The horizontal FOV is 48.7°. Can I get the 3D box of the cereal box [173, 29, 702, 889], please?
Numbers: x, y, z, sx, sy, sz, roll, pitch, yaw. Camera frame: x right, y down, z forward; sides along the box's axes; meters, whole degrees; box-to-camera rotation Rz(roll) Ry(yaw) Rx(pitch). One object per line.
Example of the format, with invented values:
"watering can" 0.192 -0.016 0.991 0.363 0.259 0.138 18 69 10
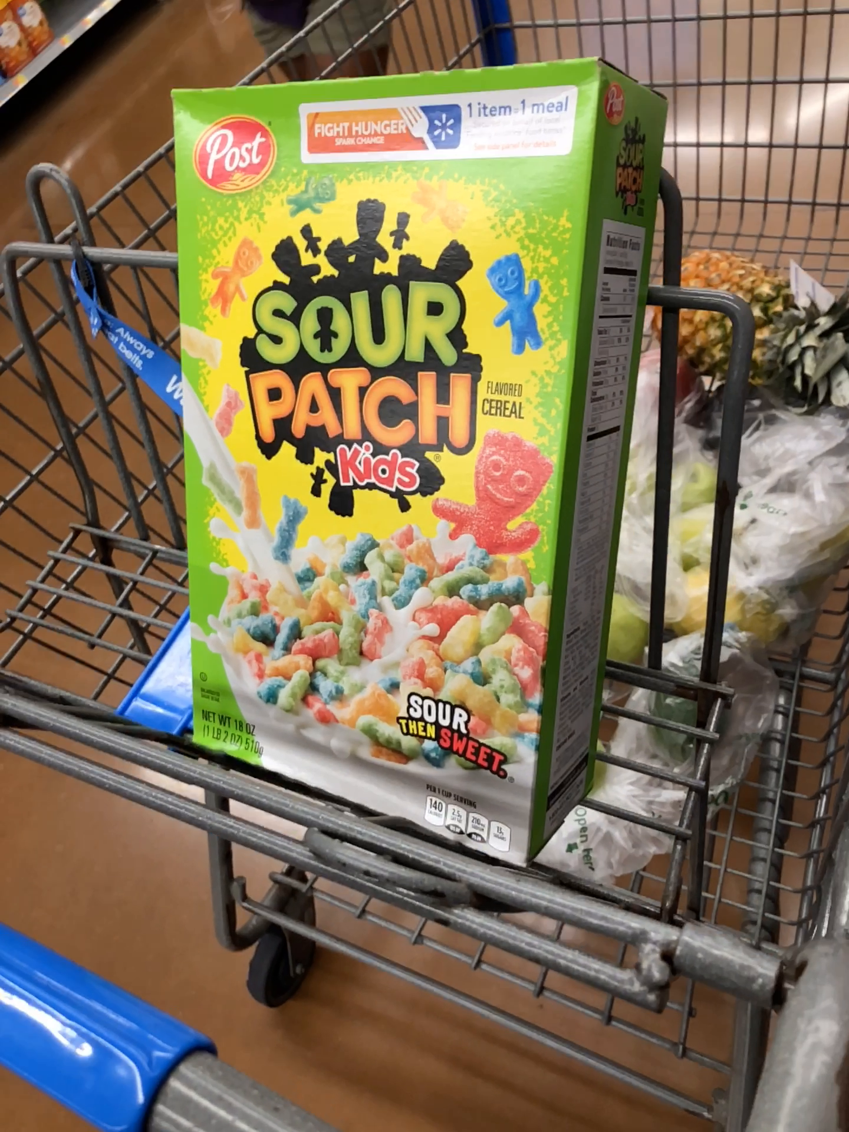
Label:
"cereal box" -0.006 -0.046 0.426 0.200 0.320 0.080 13 20 29
